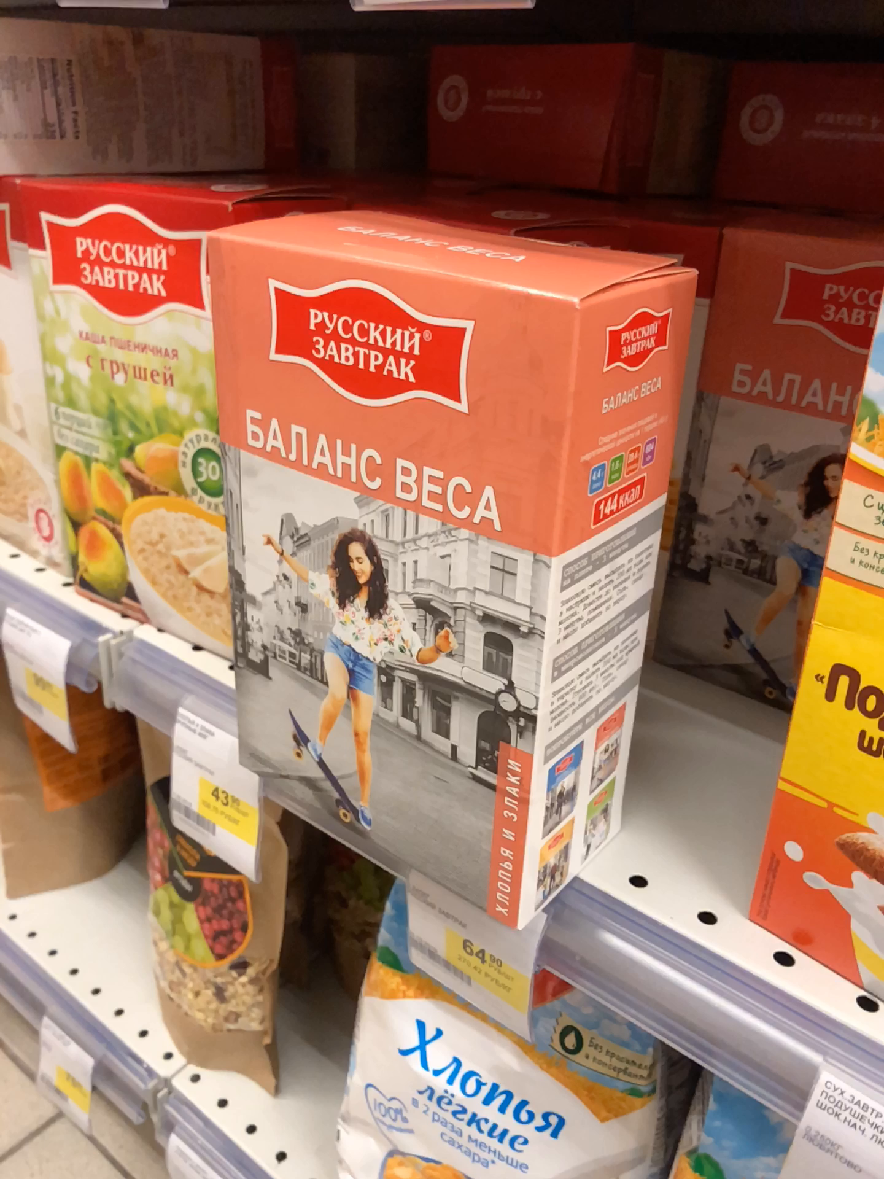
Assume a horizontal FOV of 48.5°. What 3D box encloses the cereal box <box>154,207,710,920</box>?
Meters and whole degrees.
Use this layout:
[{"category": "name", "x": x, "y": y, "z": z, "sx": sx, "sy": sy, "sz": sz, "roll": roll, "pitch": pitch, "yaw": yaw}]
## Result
[{"category": "cereal box", "x": -0.009, "y": -0.017, "z": 0.310, "sx": 0.140, "sy": 0.179, "sz": 0.070, "roll": 21, "pitch": 32, "yaw": 33}]
